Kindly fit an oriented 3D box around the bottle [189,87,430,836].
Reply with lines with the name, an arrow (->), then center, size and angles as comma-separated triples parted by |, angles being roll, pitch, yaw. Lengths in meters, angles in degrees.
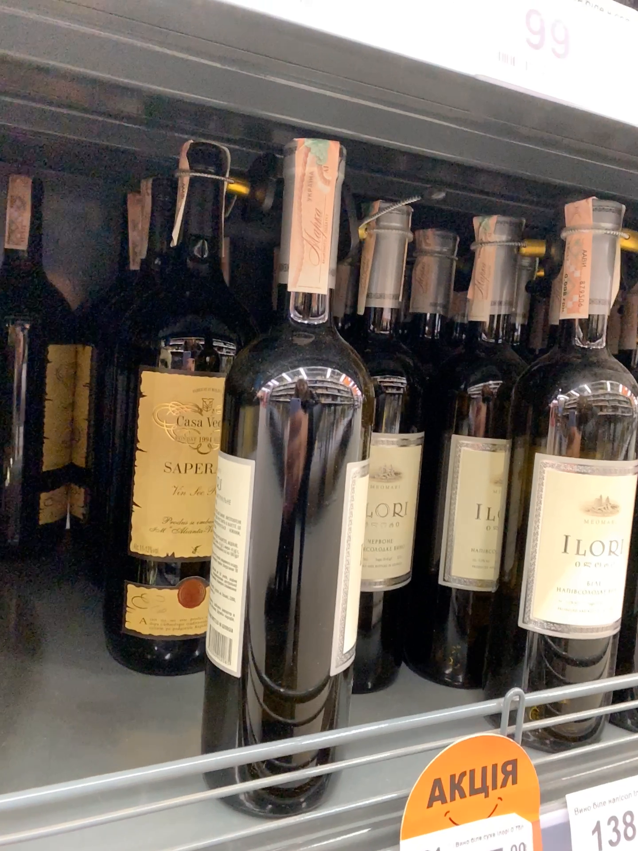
bottle -> -0.012, 0.022, 0.321 | 0.069, 0.319, 0.070 | 5, 7, -1
